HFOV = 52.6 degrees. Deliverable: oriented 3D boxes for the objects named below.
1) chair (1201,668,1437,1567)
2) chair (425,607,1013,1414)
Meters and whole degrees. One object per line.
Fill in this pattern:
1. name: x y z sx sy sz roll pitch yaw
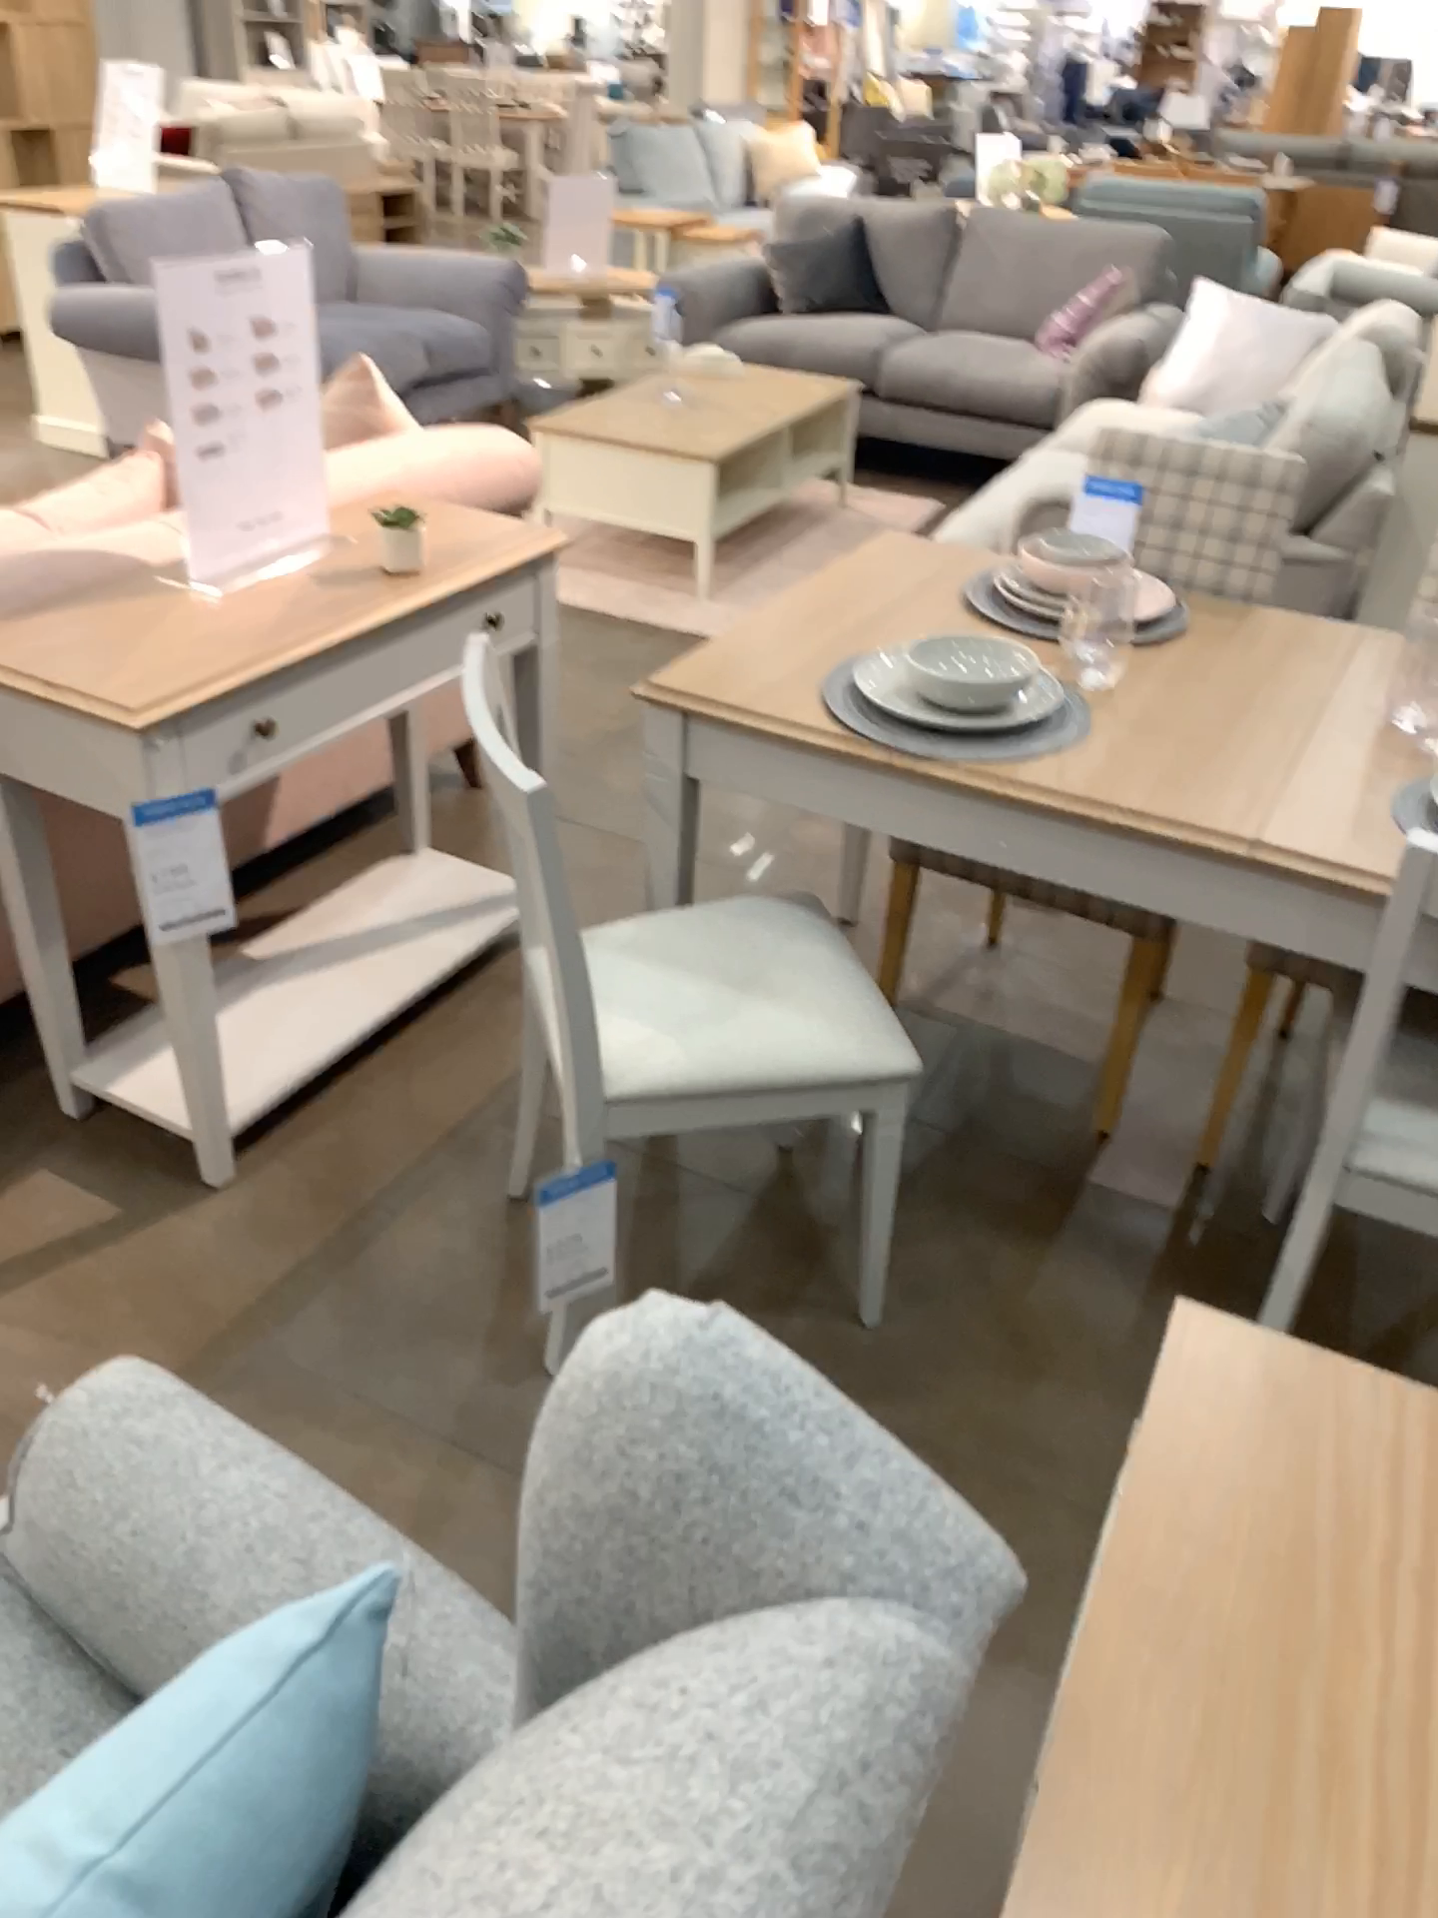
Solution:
1. chair: 0.935 0.170 1.741 0.431 0.817 0.539 17 35 20
2. chair: -0.045 0.053 1.802 0.535 0.817 0.464 -6 34 -15
